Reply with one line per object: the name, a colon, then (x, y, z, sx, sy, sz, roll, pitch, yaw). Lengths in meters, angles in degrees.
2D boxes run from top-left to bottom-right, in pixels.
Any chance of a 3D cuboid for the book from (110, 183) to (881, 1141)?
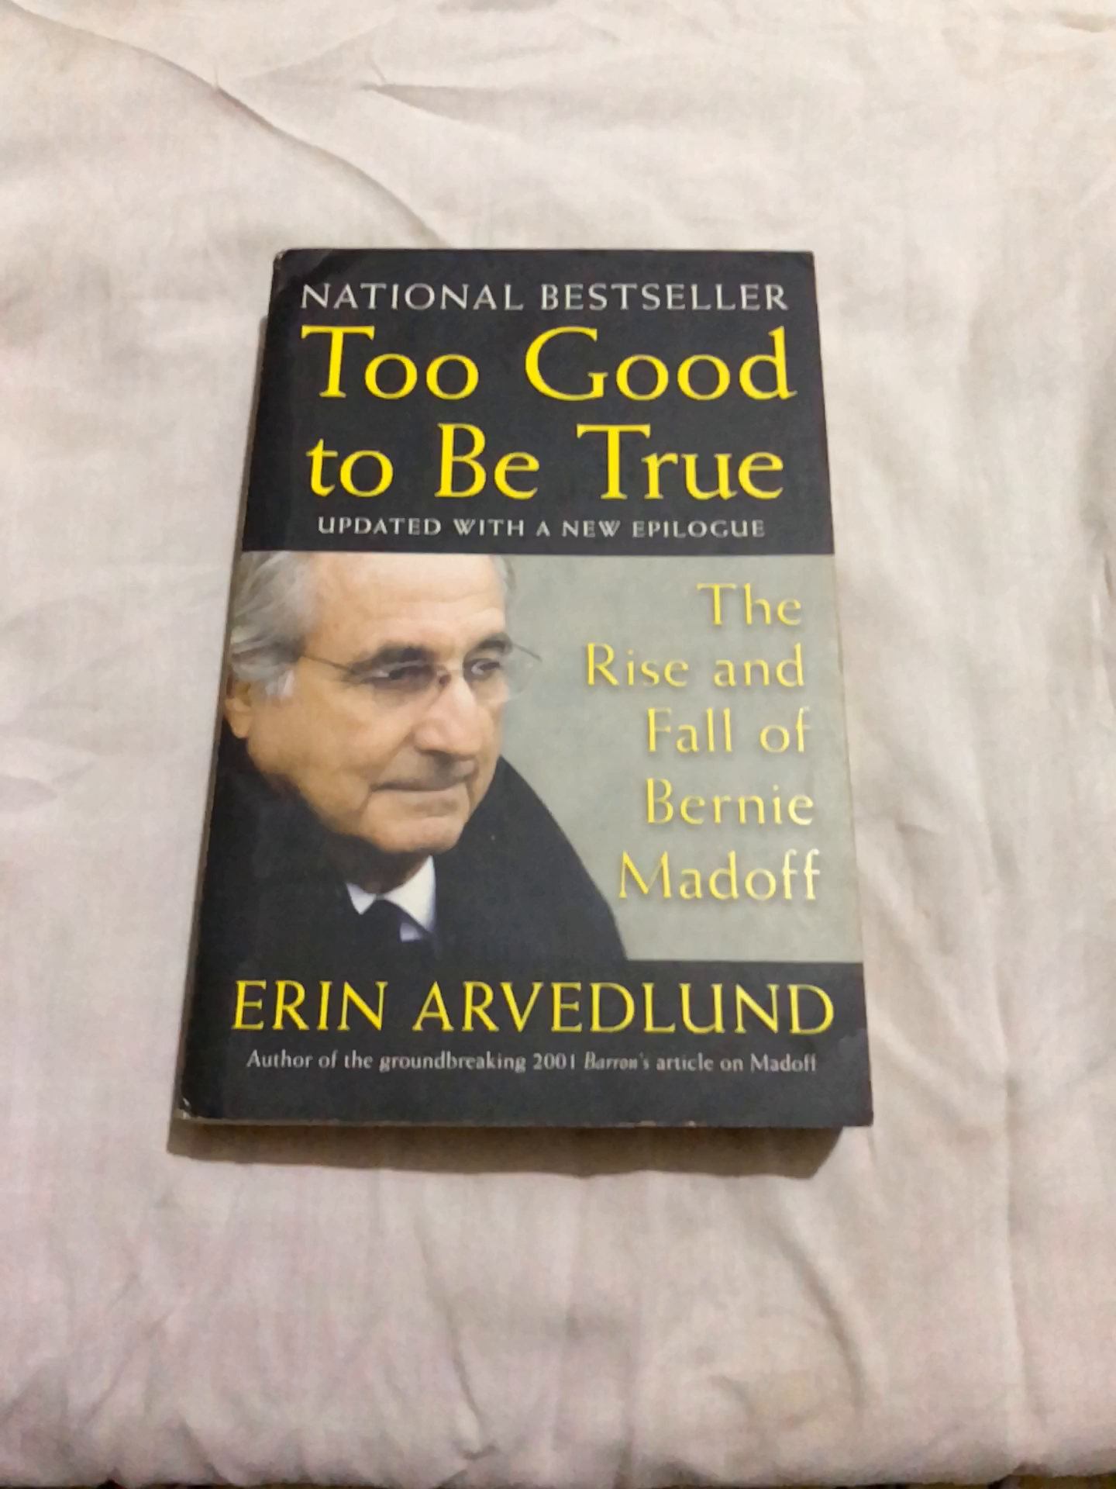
book: (-0.011, -0.028, 0.295, 0.150, 0.030, 0.230, 0, 71, 2)
